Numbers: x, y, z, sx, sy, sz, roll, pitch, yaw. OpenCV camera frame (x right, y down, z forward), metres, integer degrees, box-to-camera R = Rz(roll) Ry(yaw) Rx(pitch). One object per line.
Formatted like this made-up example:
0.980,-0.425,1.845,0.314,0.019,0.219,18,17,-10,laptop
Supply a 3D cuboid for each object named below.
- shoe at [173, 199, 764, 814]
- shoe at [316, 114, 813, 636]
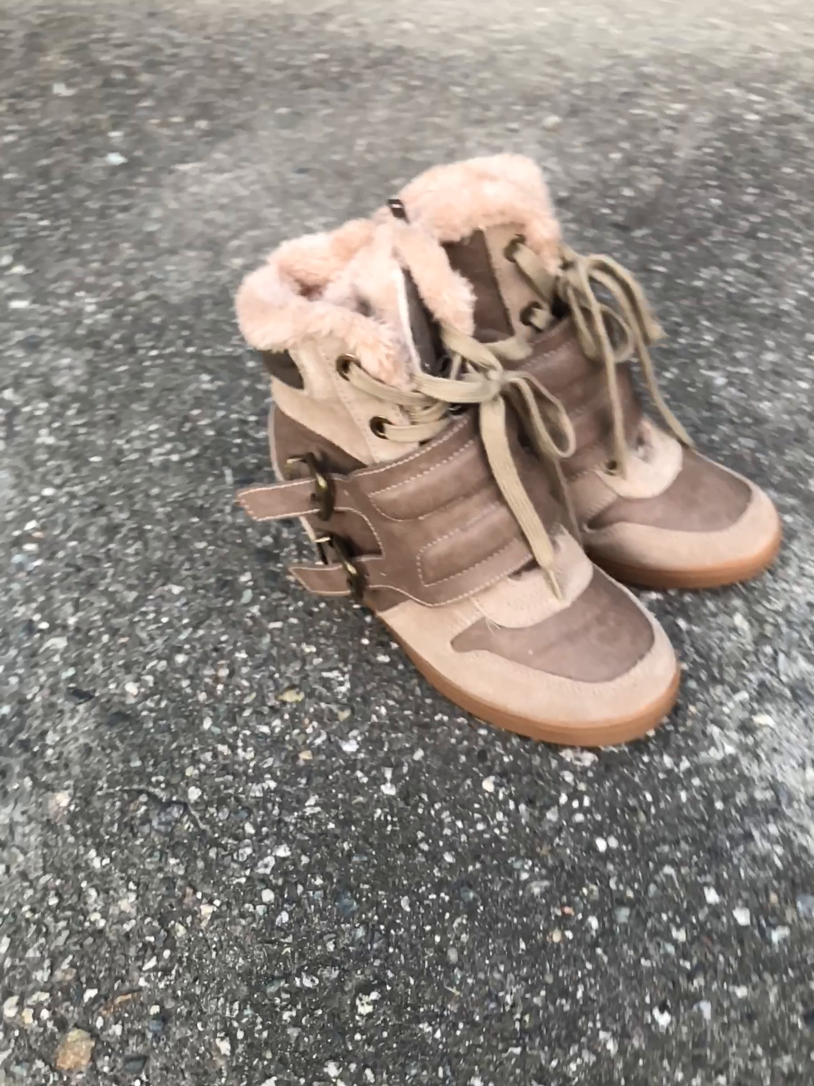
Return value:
0.019,-0.024,0.410,0.090,0.179,0.231,-37,51,-24,shoe
0.088,-0.091,0.458,0.231,0.179,0.100,26,55,30,shoe
